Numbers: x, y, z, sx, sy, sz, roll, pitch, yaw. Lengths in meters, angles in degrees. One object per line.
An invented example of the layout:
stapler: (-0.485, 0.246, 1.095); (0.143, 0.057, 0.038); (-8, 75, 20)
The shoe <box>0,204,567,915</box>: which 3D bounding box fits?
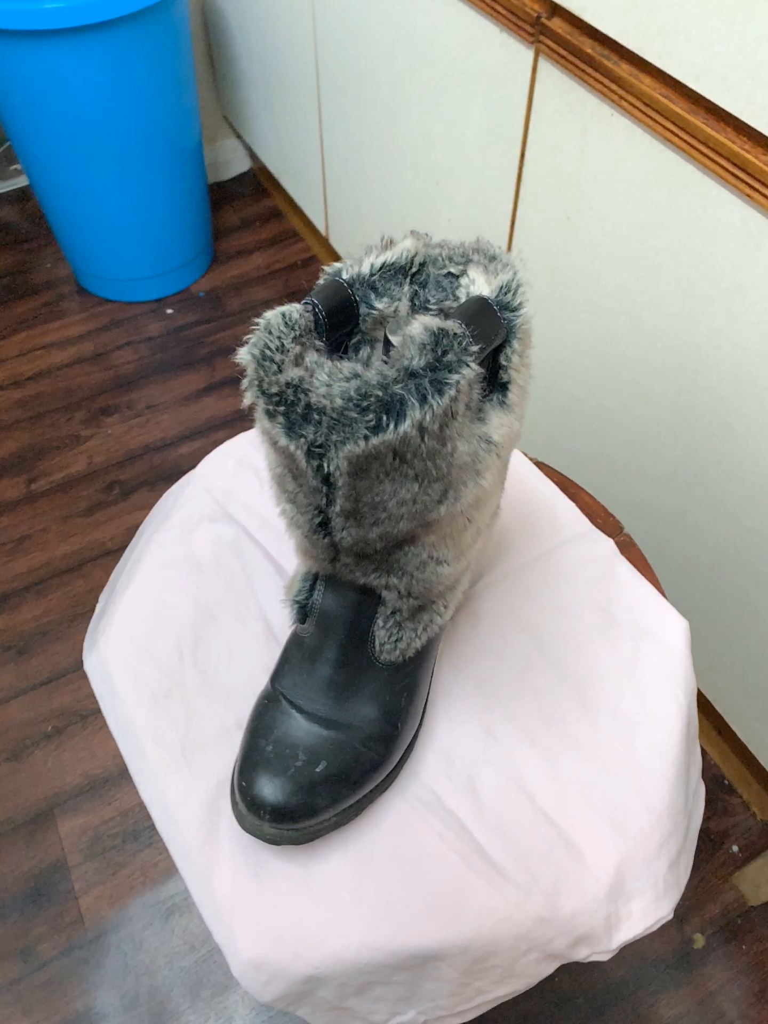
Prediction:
shoe: (-0.023, 0.029, 0.420); (0.120, 0.238, 0.272); (21, 56, 14)
